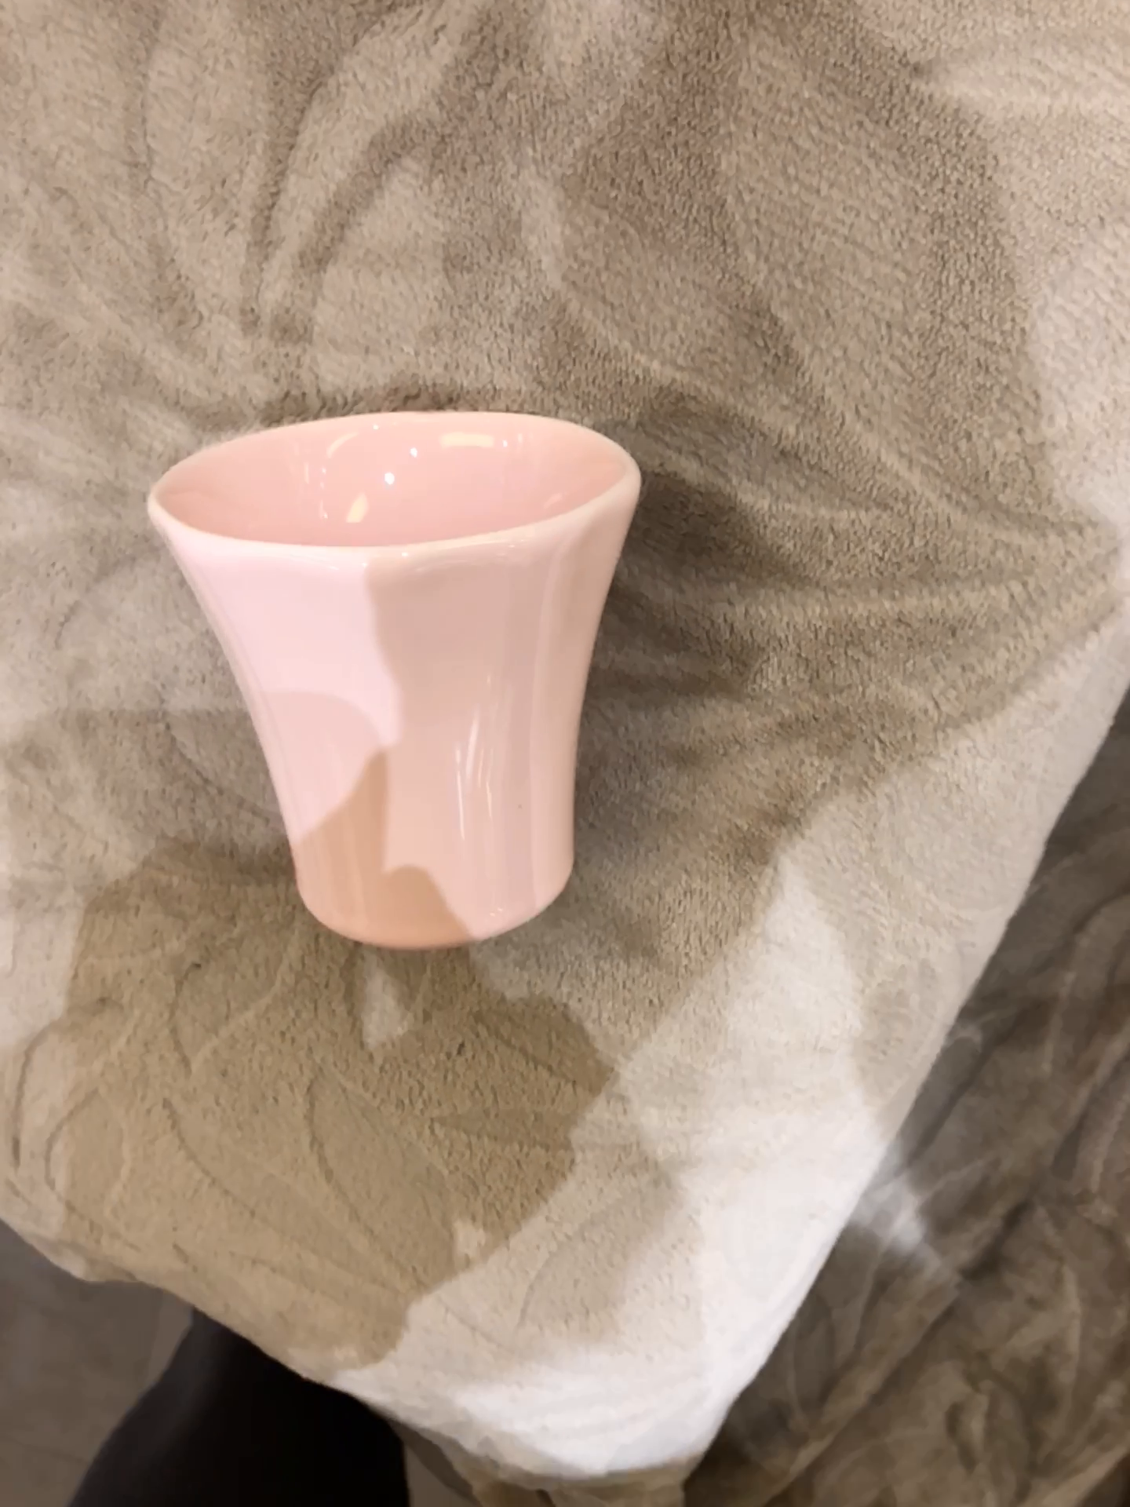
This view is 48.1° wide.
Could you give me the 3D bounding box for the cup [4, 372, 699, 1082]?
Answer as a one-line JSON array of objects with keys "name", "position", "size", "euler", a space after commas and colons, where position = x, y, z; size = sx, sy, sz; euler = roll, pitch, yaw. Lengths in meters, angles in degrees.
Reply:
[{"name": "cup", "position": [-0.037, -0.015, 0.233], "size": [0.100, 0.070, 0.090], "euler": [21, 125, 40]}]
